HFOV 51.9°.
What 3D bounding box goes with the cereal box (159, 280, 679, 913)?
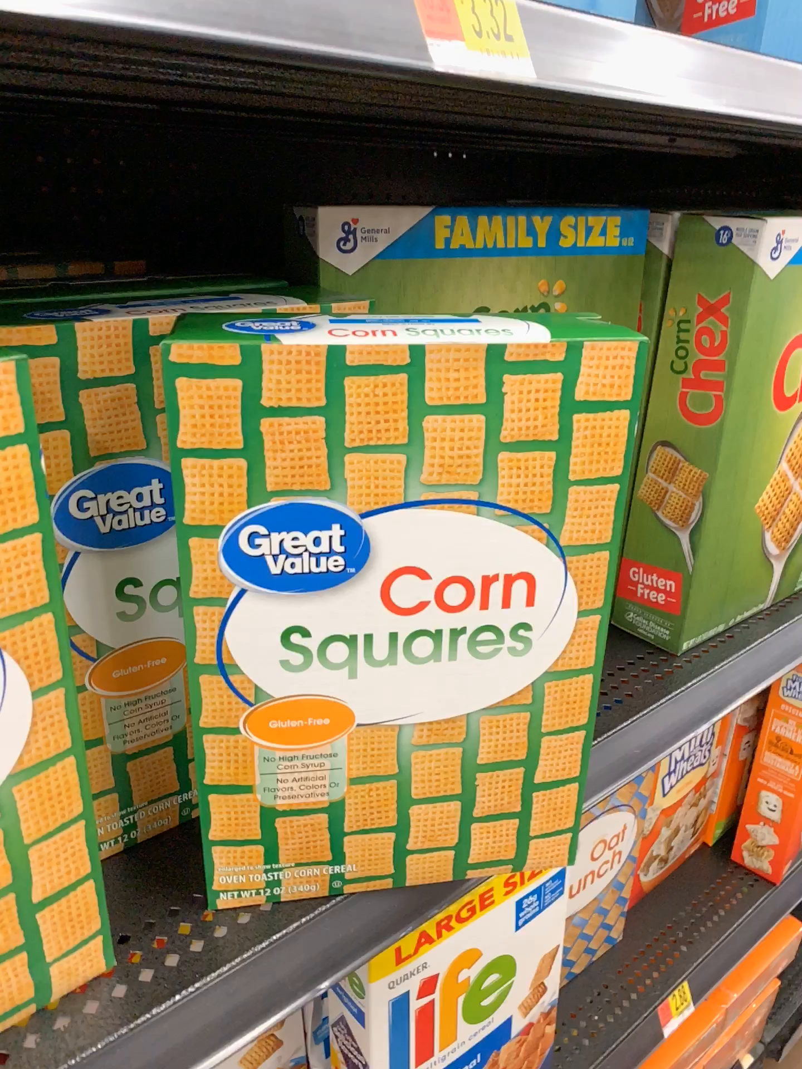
[{"bbox_3d":[0.000,0.034,0.397,0.200,0.289,0.070,-2,23,-11],"label":"cereal box"}]
